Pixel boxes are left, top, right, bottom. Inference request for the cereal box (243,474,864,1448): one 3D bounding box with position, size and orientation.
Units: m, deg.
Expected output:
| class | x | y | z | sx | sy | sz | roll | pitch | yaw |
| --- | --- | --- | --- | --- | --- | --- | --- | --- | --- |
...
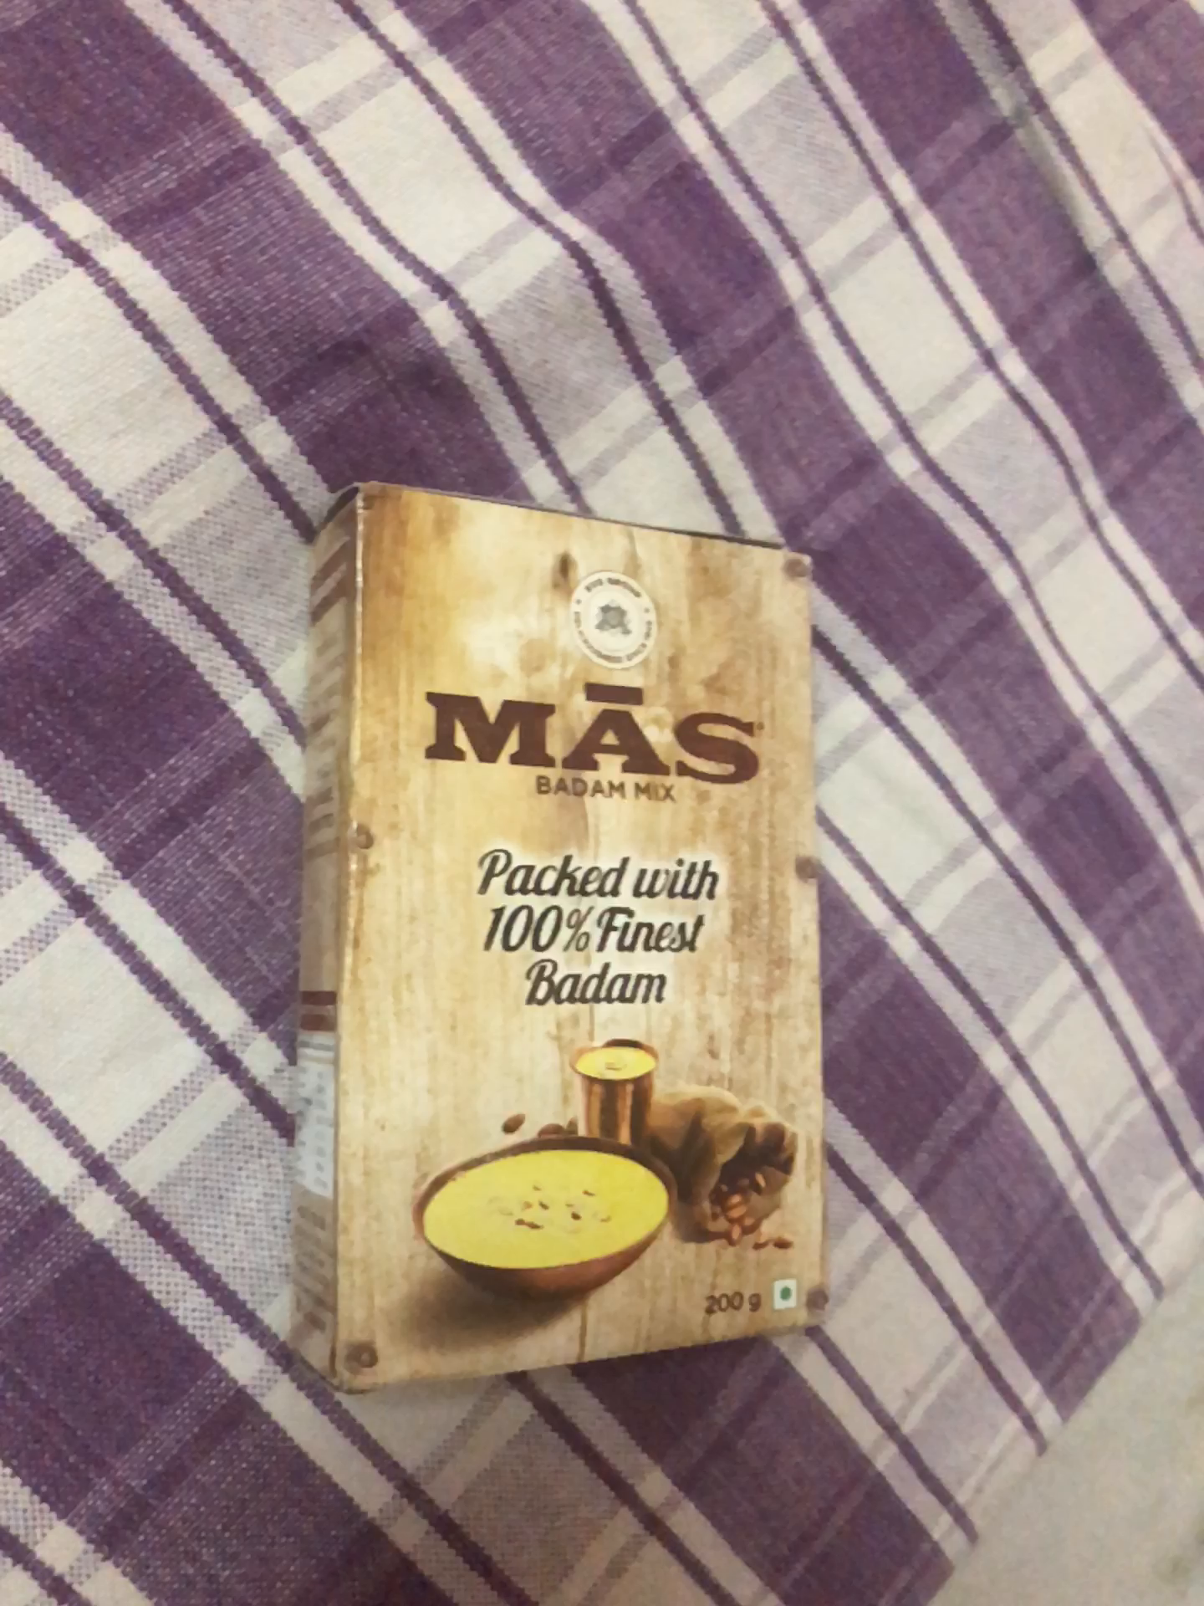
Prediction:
| class | x | y | z | sx | sy | sz | roll | pitch | yaw |
| --- | --- | --- | --- | --- | --- | --- | --- | --- | --- |
| cereal box | -0.006 | 0.022 | 0.213 | 0.090 | 0.030 | 0.130 | 4 | 83 | -24 |
